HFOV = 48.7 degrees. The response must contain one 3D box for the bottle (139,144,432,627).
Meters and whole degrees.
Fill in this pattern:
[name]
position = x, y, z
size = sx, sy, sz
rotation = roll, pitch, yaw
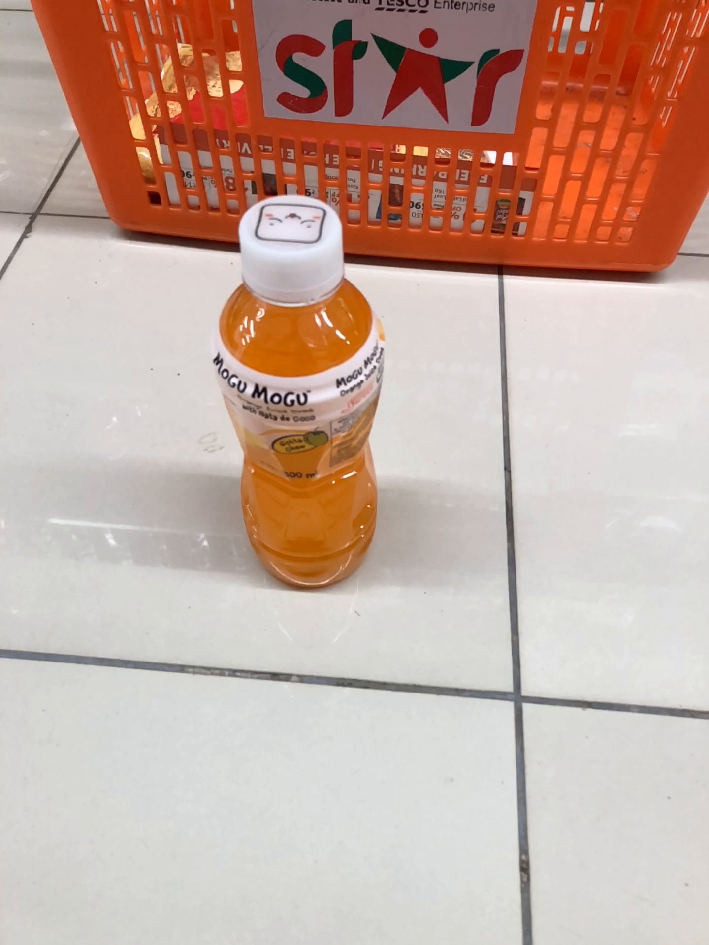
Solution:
[bottle]
position = -0.017, -0.019, 0.276
size = 0.060, 0.159, 0.066
rotation = 0, 52, 0
